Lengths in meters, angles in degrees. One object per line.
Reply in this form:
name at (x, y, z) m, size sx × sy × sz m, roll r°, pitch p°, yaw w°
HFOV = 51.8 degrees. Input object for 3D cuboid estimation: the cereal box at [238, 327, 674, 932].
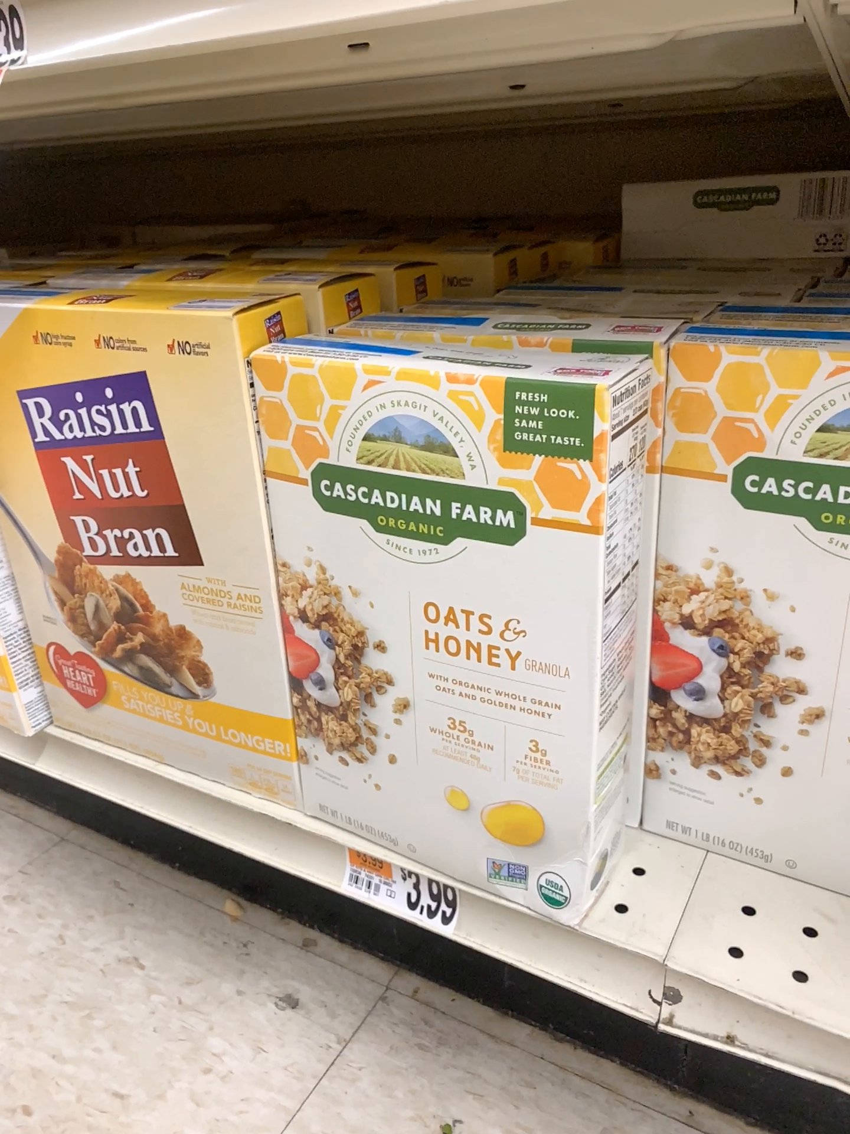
cereal box at (0.012, 0.021, 0.383) m, size 0.160 × 0.229 × 0.060 m, roll 12°, pitch 28°, yaw 31°
